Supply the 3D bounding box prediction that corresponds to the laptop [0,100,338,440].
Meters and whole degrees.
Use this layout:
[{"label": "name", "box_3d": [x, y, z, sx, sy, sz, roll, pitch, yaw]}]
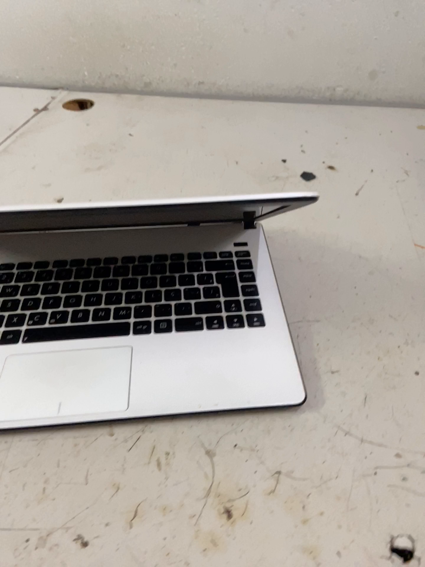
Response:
[{"label": "laptop", "box_3d": [-0.106, -0.030, 0.376, 0.343, 0.141, 0.237, -3, 44, -4]}]
